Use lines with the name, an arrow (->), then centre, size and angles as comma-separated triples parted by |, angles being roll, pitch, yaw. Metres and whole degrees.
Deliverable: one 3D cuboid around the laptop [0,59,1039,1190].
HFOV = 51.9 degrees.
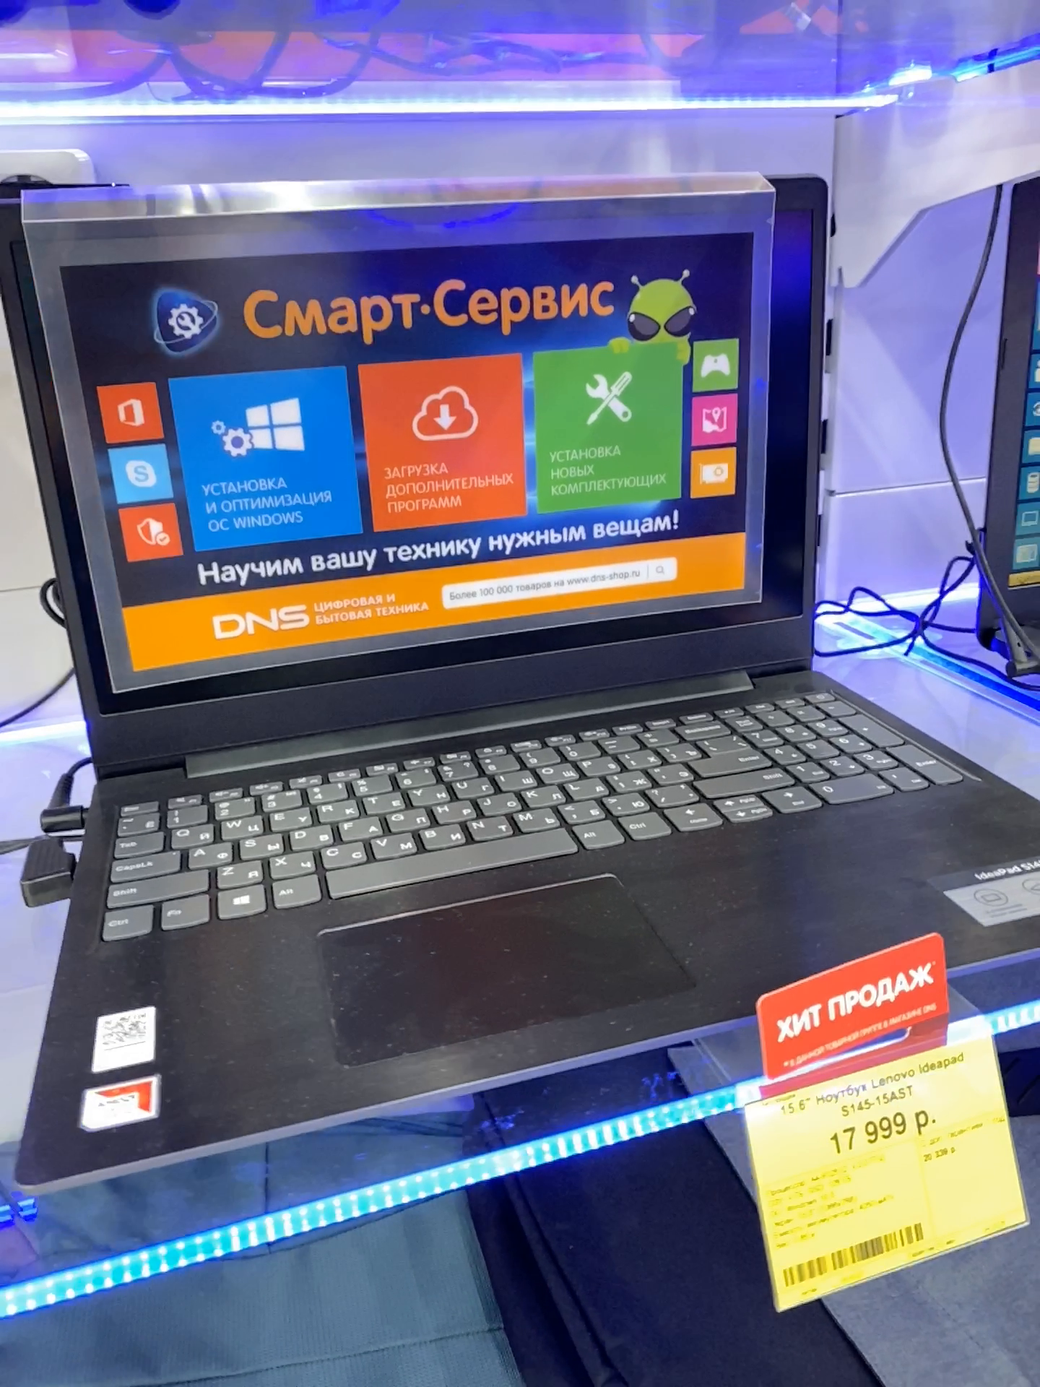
laptop -> 0.010, -0.059, 0.378 | 0.361, 0.239, 0.258 | -8, 21, -14
